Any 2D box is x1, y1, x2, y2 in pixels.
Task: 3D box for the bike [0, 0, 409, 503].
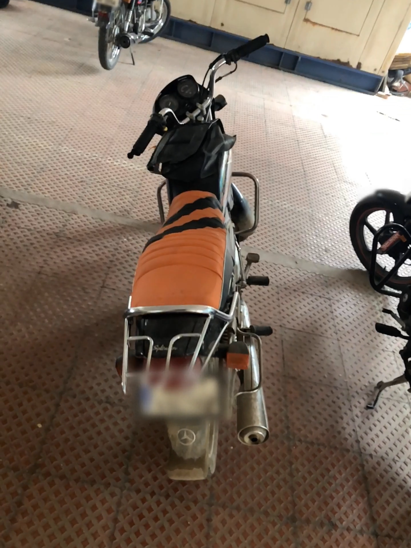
[{"bbox_3d":[-0.148,-0.168,1.637,0.688,1.123,1.410,9,40,-10],"label":"bike"}]
